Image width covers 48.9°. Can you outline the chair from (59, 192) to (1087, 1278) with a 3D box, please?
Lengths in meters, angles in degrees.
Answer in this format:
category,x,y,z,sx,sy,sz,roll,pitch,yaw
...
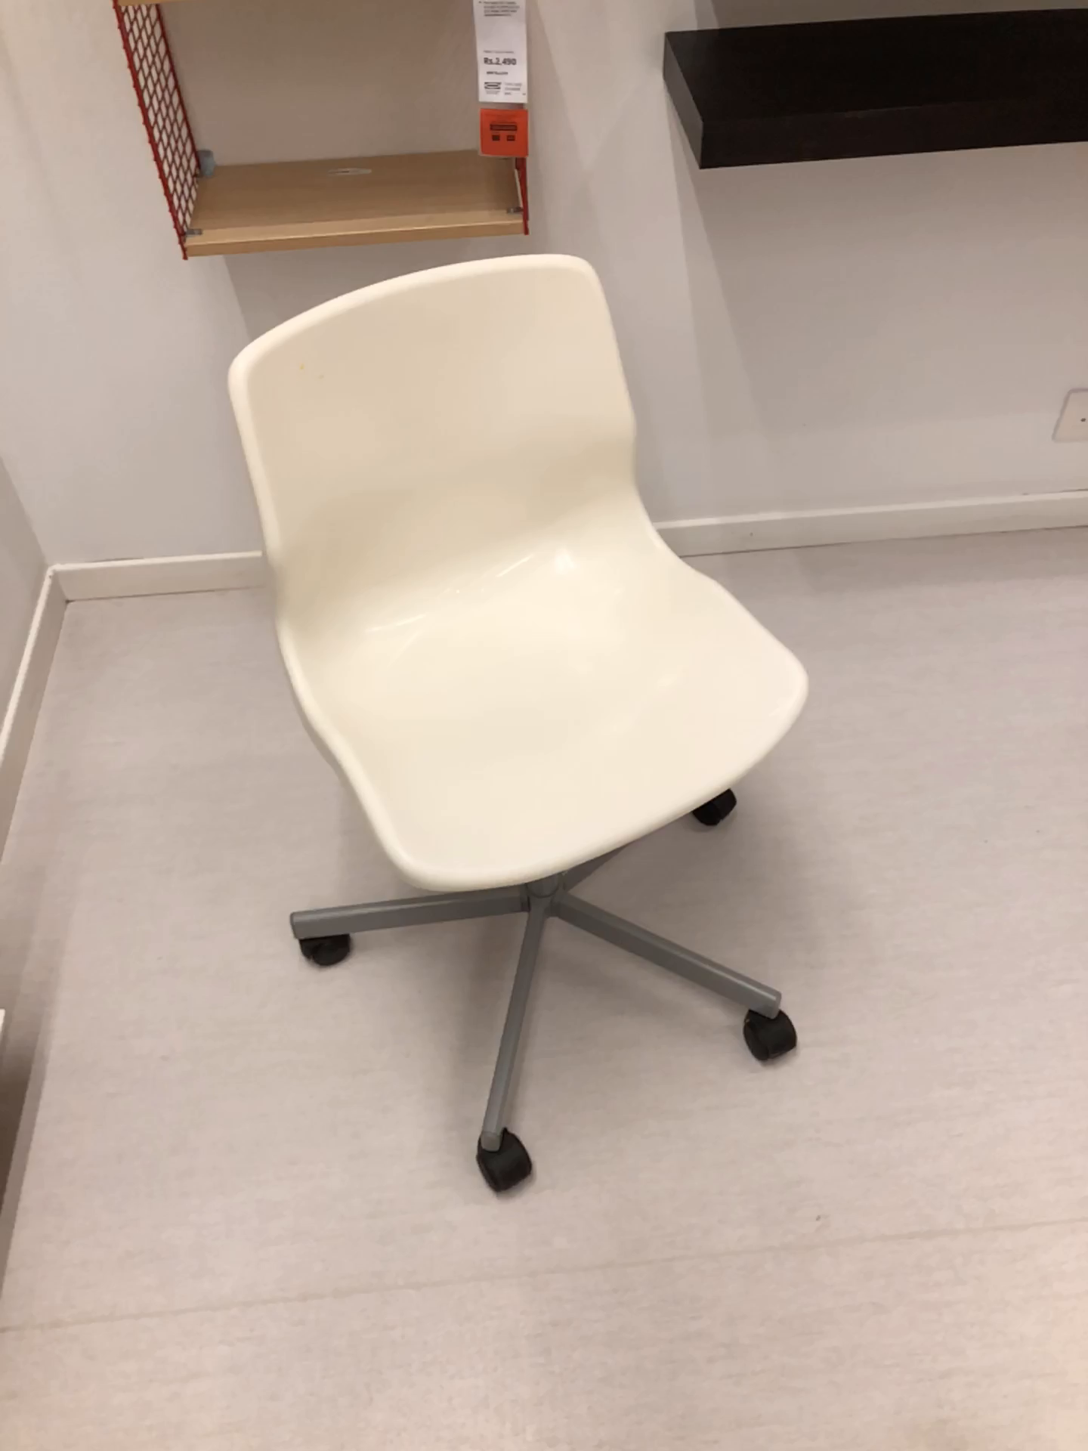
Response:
category,x,y,z,sx,sy,sz,roll,pitch,yaw
chair,0.010,0.001,1.206,0.621,0.686,0.623,-24,52,-18
